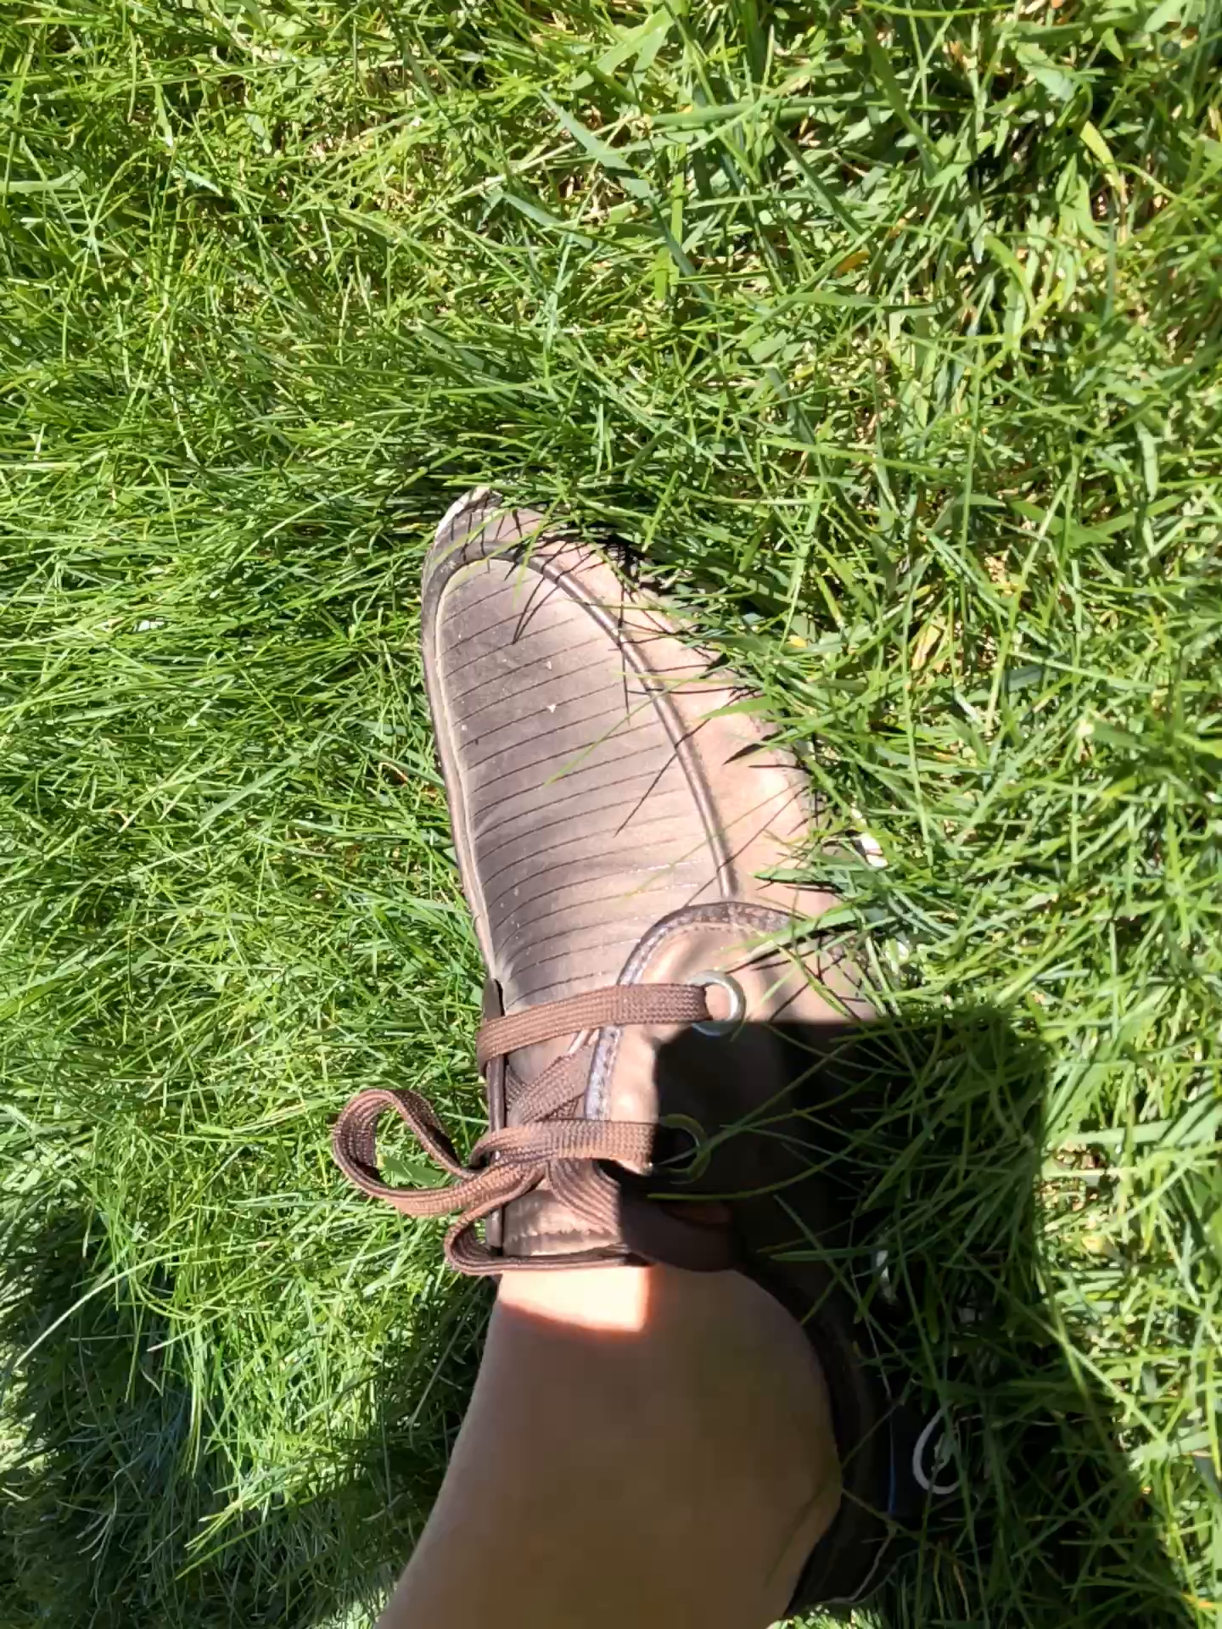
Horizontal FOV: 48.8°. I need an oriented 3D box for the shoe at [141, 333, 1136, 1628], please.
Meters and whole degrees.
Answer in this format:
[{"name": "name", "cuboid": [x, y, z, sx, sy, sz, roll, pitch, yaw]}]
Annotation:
[{"name": "shoe", "cuboid": [0.008, 0.052, 0.324, 0.110, 0.107, 0.293, -18, 91, 42]}]
